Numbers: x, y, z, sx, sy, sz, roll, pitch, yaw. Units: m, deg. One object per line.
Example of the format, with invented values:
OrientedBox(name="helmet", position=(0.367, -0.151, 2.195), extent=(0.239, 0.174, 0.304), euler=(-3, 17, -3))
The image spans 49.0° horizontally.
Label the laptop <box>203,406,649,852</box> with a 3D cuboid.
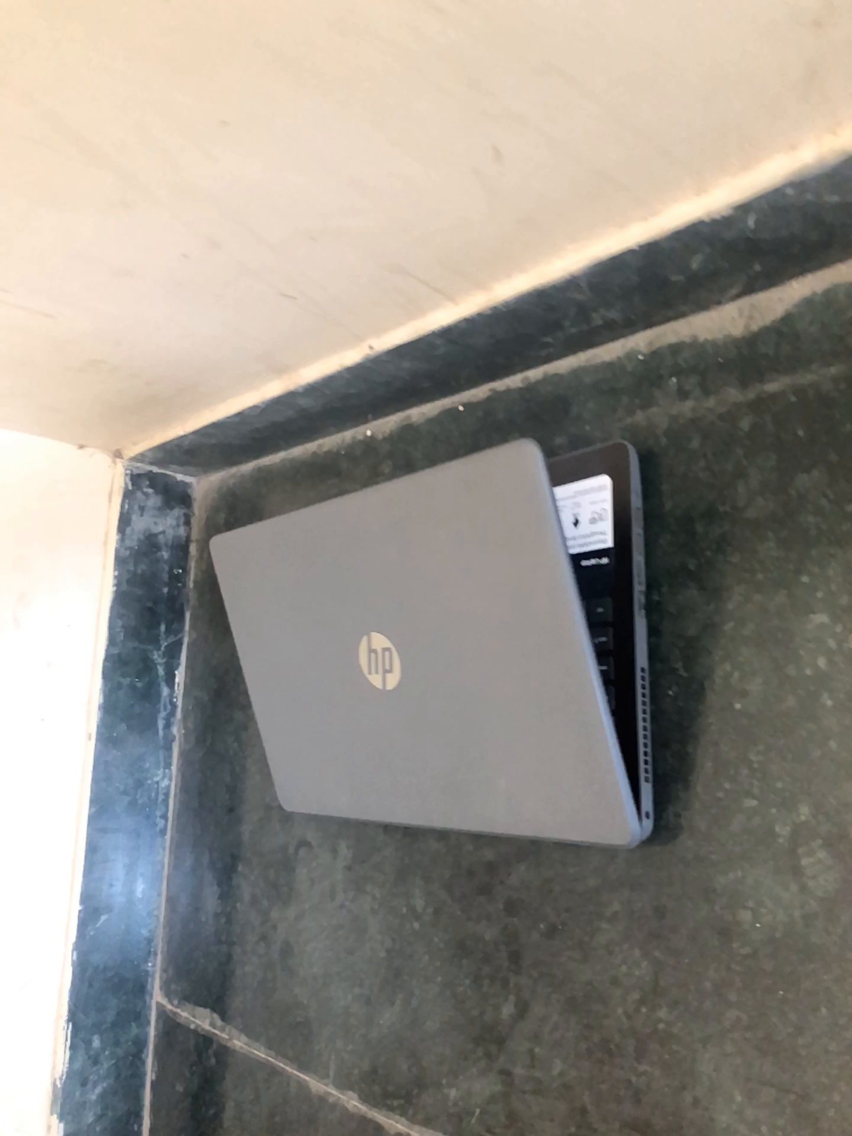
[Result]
OrientedBox(name="laptop", position=(-0.026, 0.058, 0.667), extent=(0.359, 0.091, 0.243), euler=(-12, 75, 47))
